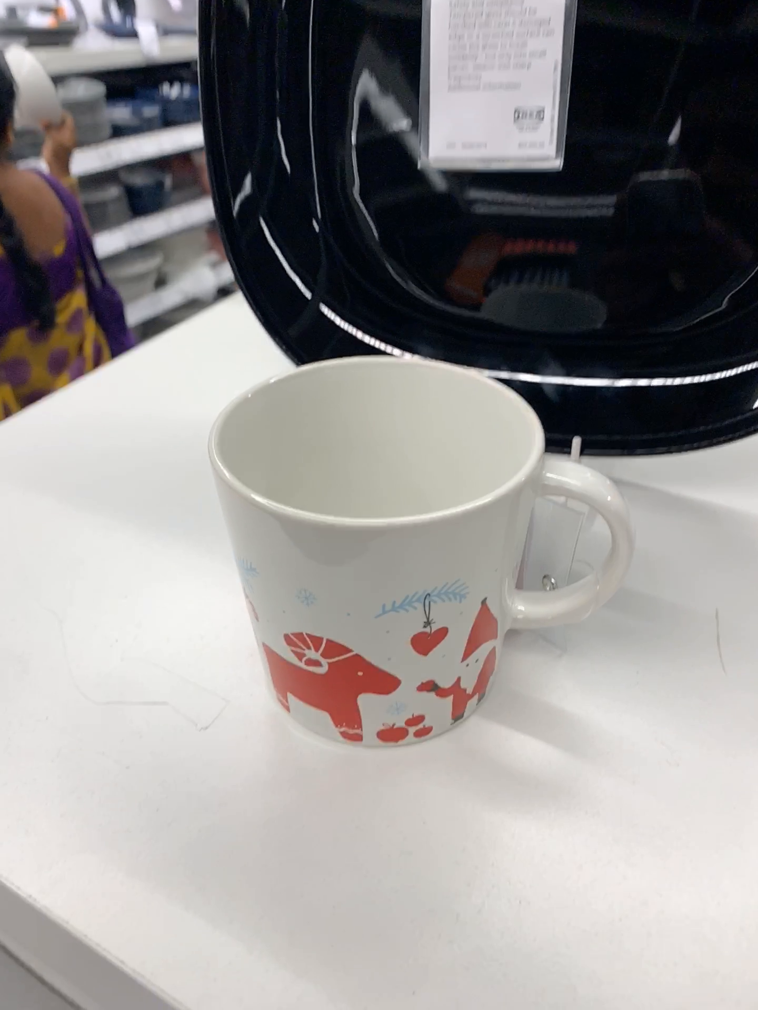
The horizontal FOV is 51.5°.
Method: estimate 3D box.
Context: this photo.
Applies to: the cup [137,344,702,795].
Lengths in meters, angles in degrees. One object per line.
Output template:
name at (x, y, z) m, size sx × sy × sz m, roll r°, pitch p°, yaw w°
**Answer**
cup at (0.011, 0.014, 0.229) m, size 0.120 × 0.090 × 0.090 m, roll 2°, pitch 35°, yaw 4°
